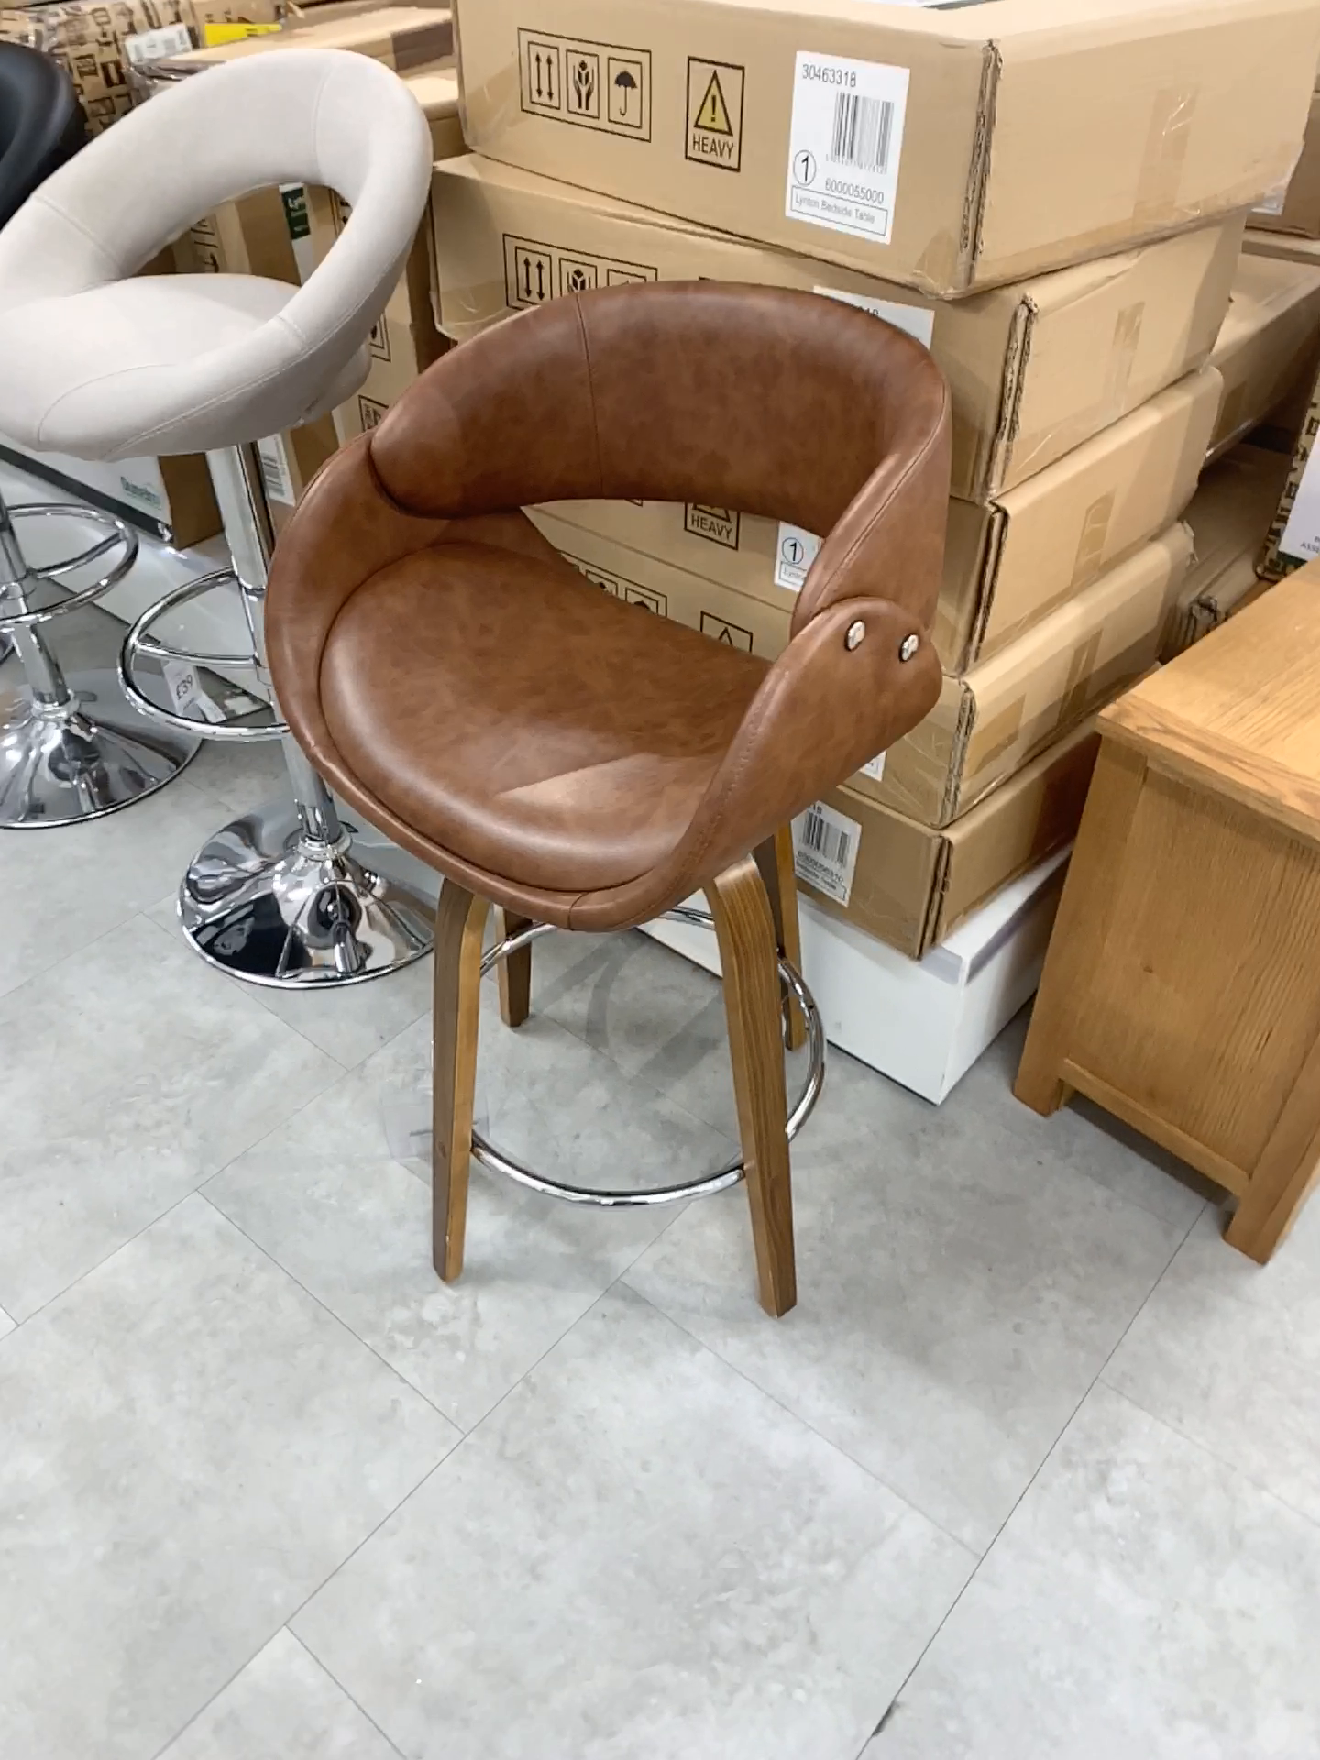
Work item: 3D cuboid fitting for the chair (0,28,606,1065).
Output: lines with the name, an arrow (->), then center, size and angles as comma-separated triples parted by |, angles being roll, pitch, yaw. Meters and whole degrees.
chair -> -0.437, -0.372, 1.566 | 0.495, 0.945, 0.523 | 28, 49, 29

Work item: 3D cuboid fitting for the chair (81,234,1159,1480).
chair -> -0.018, -0.027, 1.243 | 0.546, 0.846, 0.553 | 30, 50, 30

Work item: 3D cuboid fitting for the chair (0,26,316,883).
chair -> -0.881, -0.555, 1.791 | 0.495, 0.886, 0.472 | 28, 49, 29
